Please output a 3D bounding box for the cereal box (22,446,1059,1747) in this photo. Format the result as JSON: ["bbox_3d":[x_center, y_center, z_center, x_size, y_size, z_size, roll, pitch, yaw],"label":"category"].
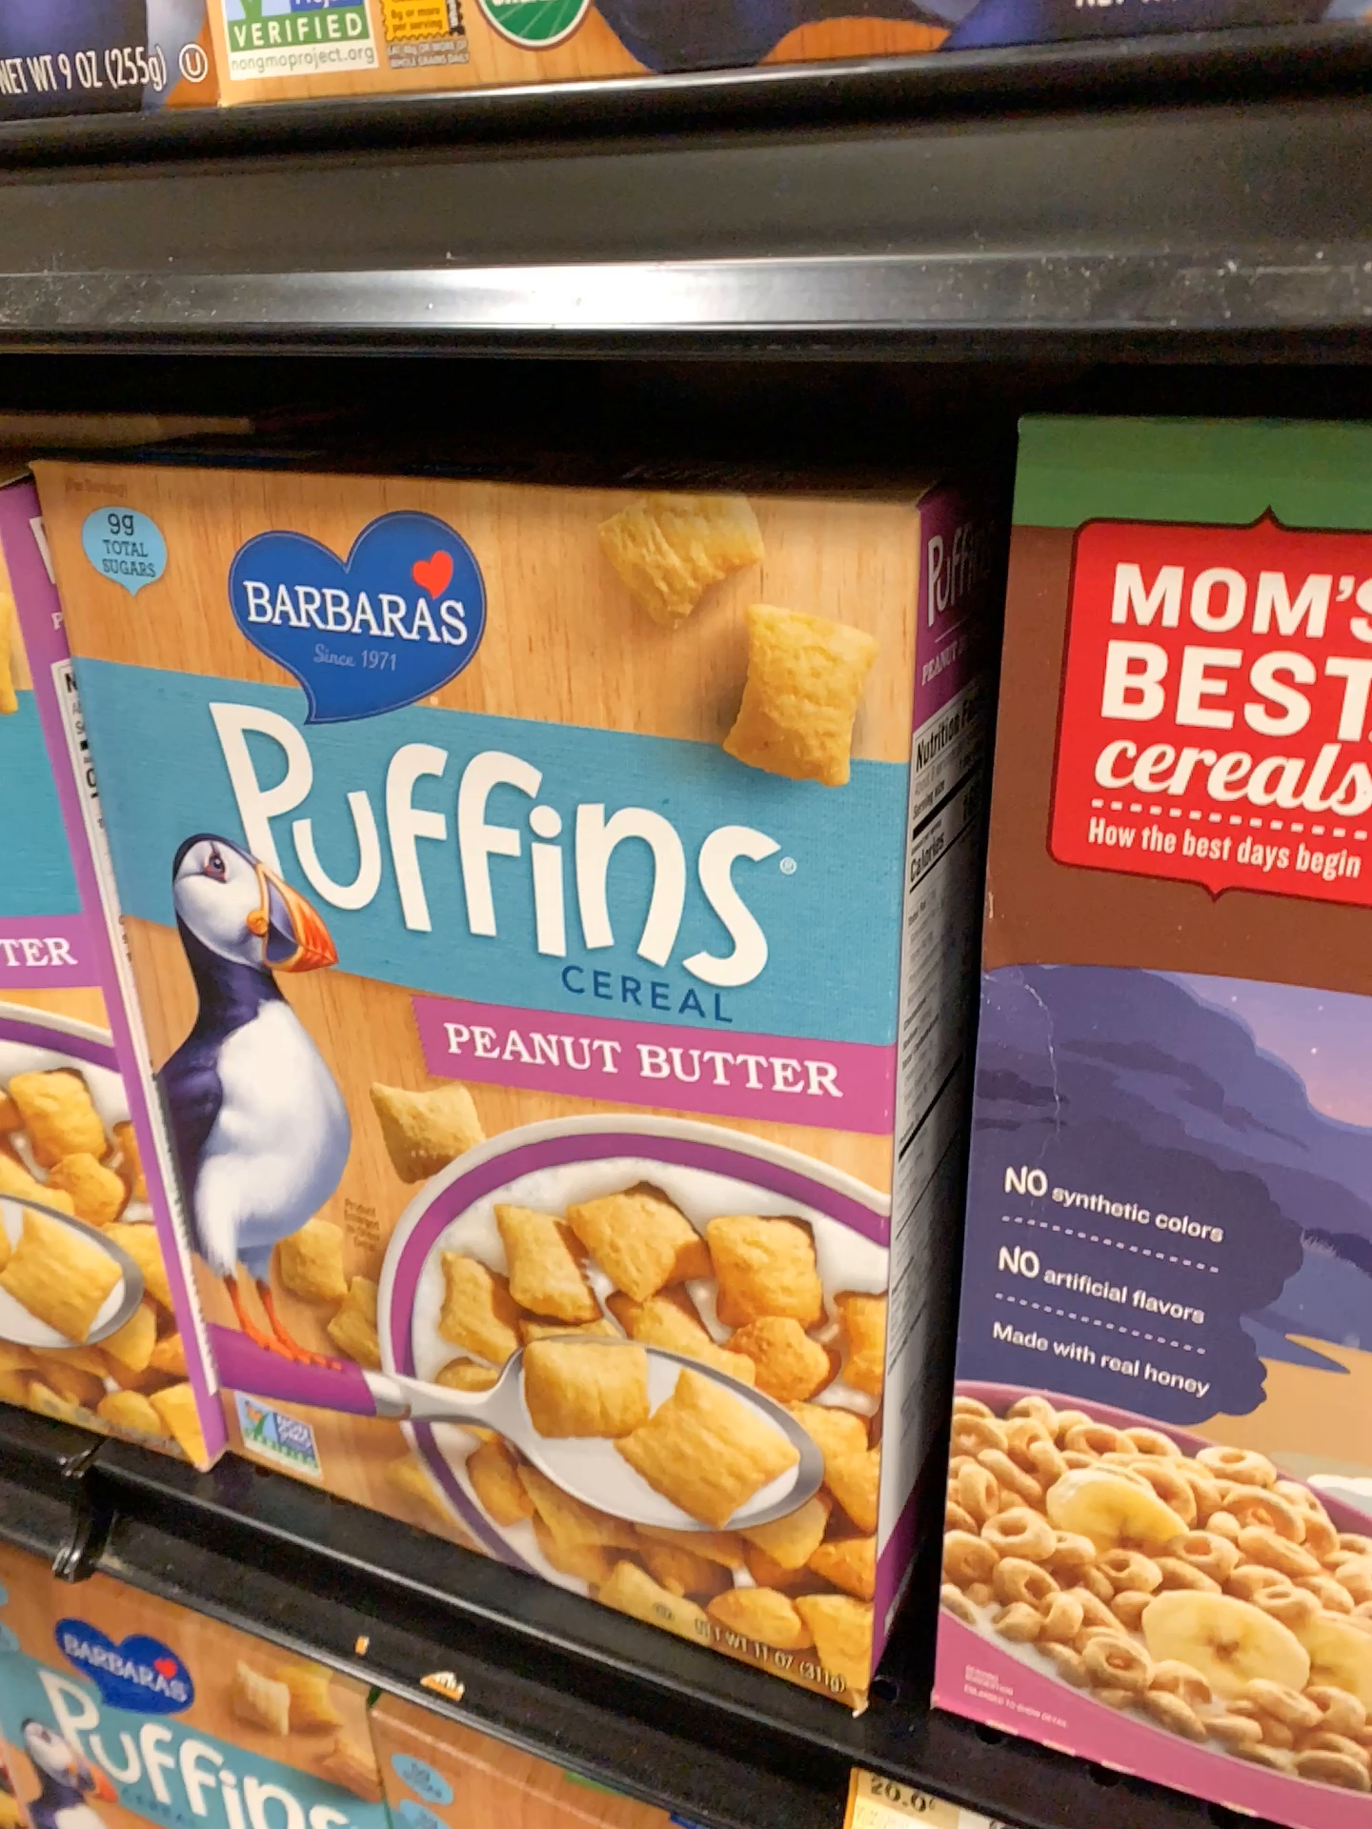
[{"bbox_3d":[-0.034,0.032,0.331,0.200,0.259,0.070,10,23,24],"label":"cereal box"}]
